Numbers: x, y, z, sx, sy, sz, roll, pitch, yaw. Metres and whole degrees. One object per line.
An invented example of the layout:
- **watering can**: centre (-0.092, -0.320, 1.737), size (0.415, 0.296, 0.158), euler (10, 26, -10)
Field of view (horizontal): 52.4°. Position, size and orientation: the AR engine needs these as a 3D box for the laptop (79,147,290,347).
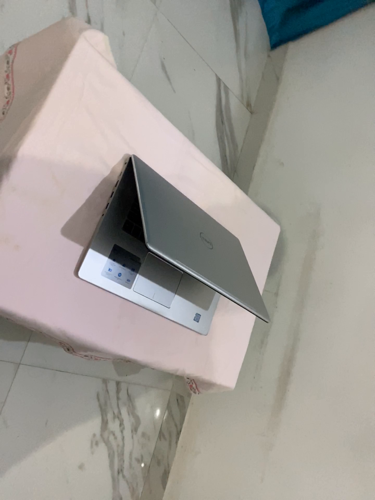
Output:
- **laptop**: centre (0.020, 0.014, 0.727), size (0.349, 0.148, 0.234), euler (33, 69, -41)
